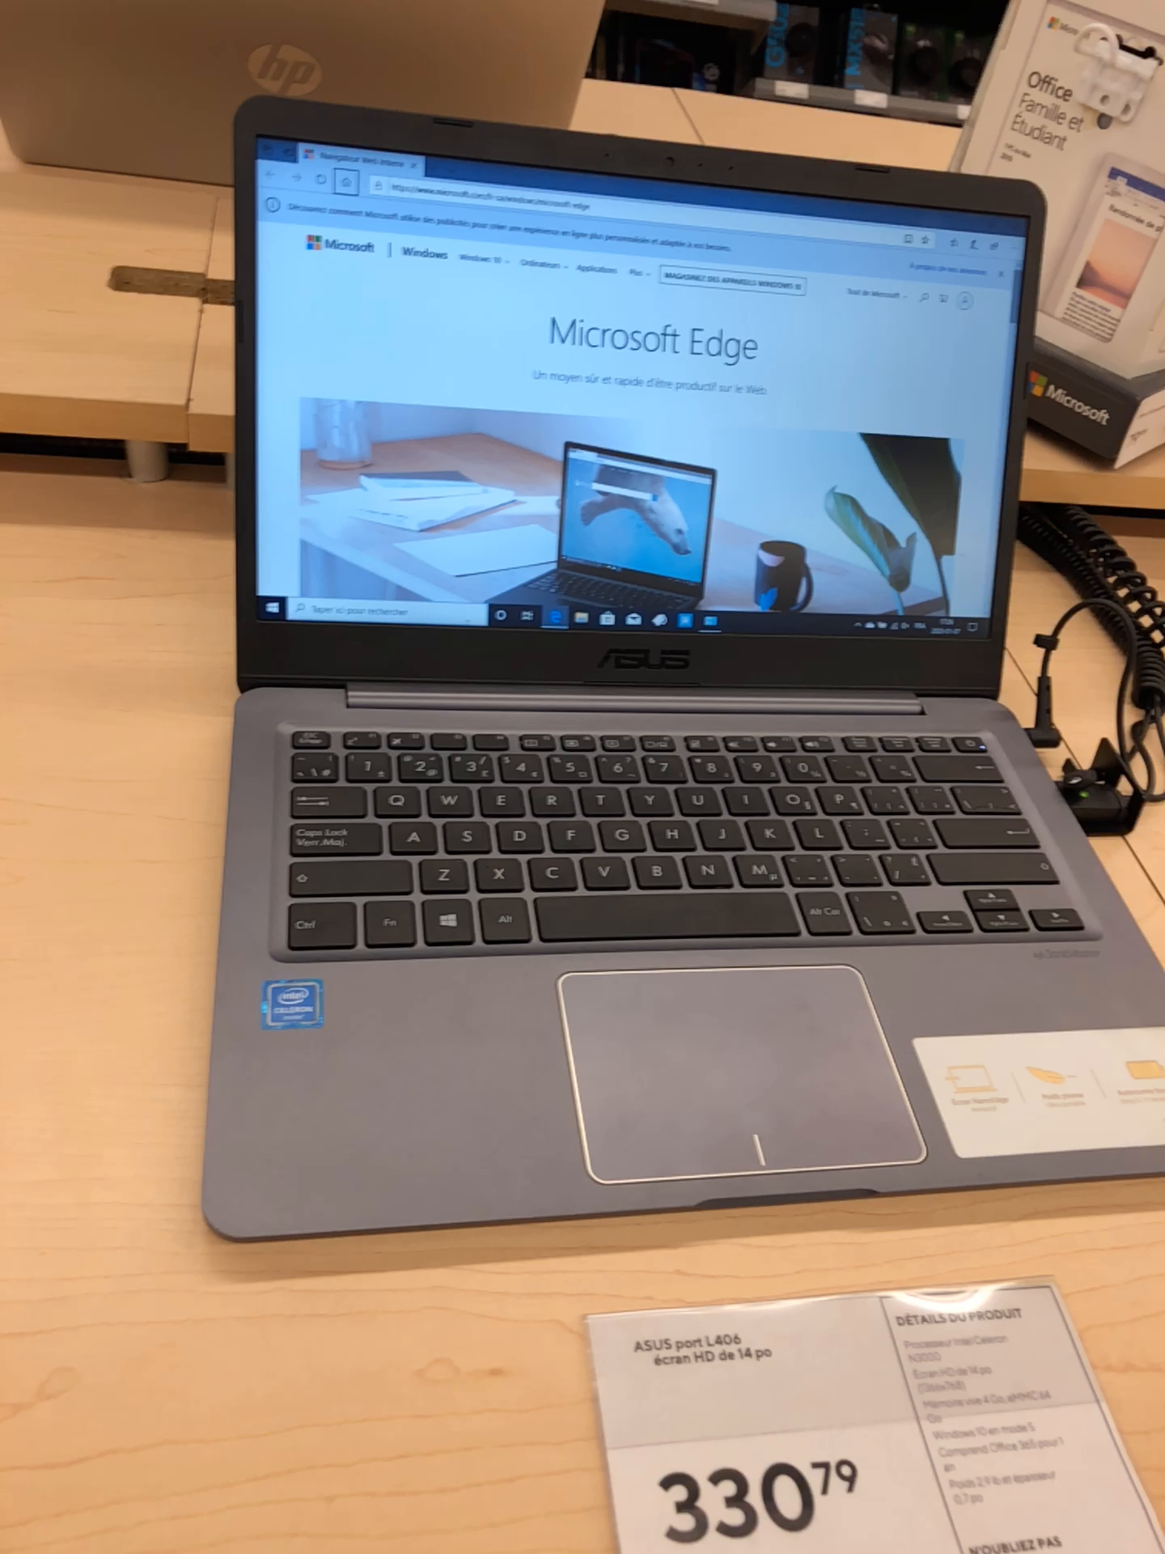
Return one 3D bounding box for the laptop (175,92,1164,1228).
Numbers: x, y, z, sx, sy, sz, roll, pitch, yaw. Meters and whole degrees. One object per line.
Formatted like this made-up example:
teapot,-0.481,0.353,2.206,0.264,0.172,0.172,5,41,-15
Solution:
laptop,0.043,-0.060,0.426,0.309,0.173,0.328,0,45,-12
